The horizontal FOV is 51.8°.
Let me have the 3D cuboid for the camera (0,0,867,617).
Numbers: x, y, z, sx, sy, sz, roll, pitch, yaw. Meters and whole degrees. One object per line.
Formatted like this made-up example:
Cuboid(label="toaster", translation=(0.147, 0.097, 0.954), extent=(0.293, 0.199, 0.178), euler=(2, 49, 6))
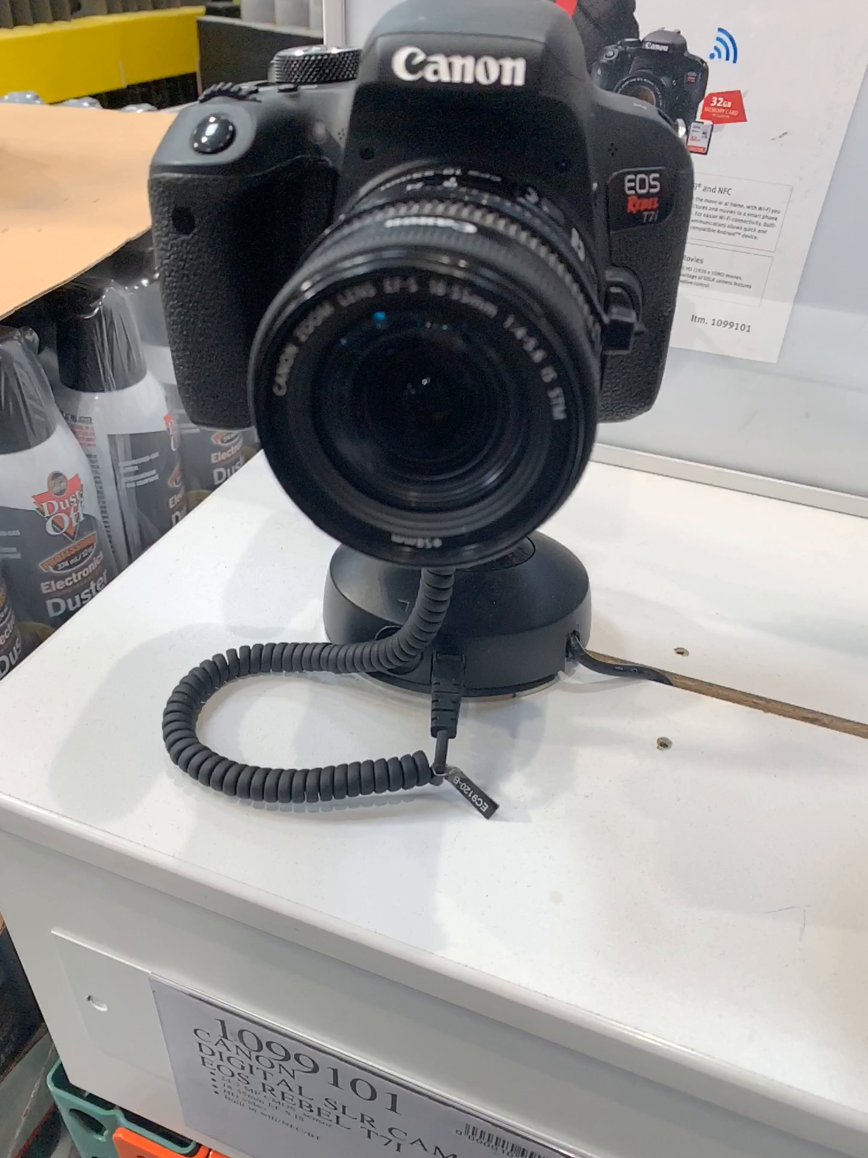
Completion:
Cuboid(label="camera", translation=(0.002, -0.073, 0.192), extent=(0.134, 0.089, 0.121), euler=(7, 36, 6))
